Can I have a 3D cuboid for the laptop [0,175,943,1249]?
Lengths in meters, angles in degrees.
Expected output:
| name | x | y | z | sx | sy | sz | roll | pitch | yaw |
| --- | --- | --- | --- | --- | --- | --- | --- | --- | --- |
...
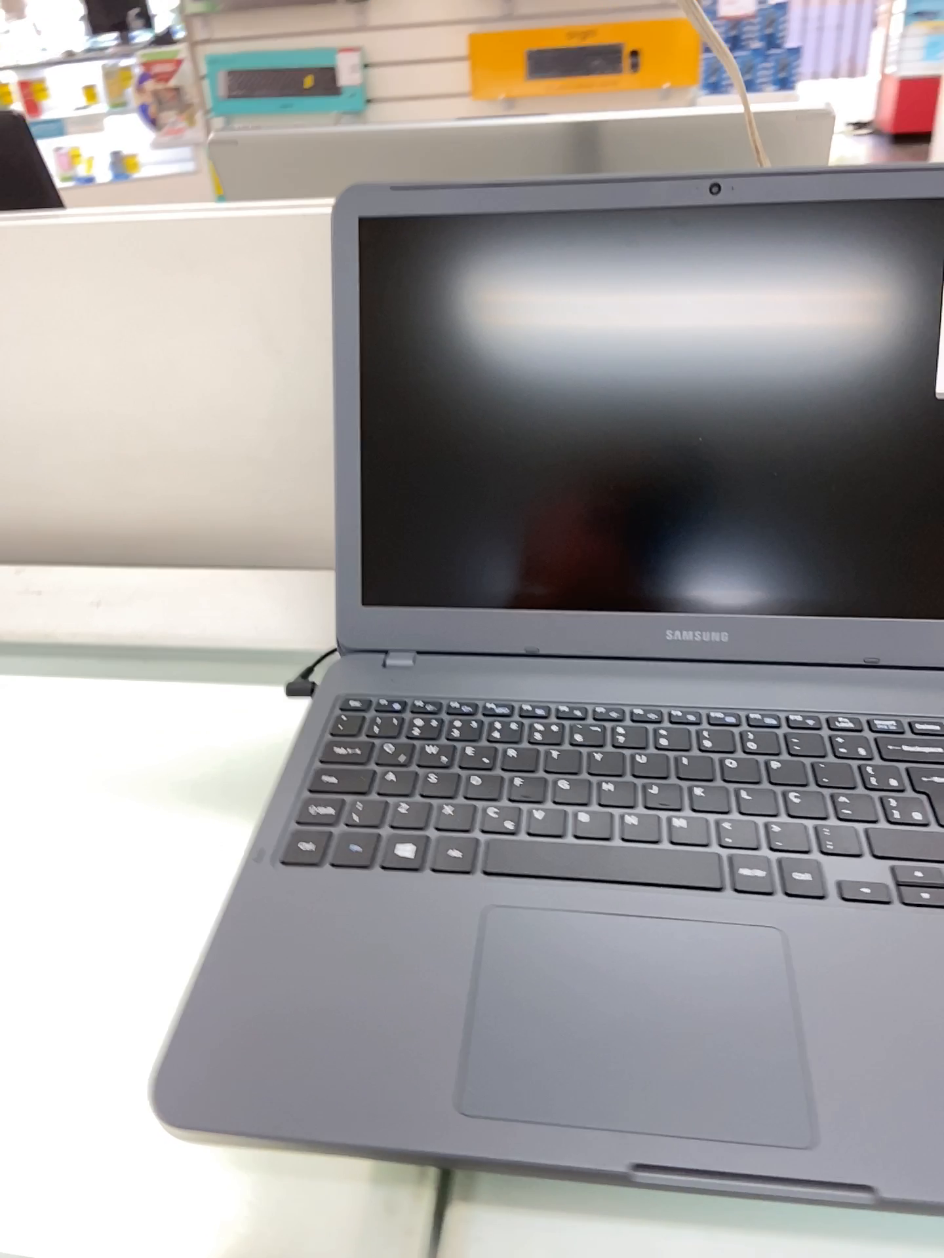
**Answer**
| name | x | y | z | sx | sy | sz | roll | pitch | yaw |
| --- | --- | --- | --- | --- | --- | --- | --- | --- | --- |
| laptop | 0.092 | -0.025 | 0.365 | 0.360 | 0.197 | 0.353 | 1 | 34 | 8 |
